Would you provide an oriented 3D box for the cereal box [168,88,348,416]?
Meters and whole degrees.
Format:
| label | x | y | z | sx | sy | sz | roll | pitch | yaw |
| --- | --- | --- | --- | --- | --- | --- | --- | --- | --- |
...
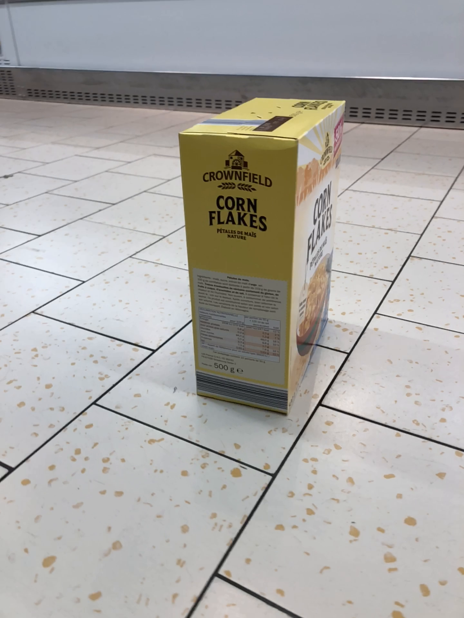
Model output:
| label | x | y | z | sx | sy | sz | roll | pitch | yaw |
| --- | --- | --- | --- | --- | --- | --- | --- | --- | --- |
| cereal box | 0.037 | -0.068 | 0.506 | 0.100 | 0.258 | 0.201 | 9 | 30 | 18 |
